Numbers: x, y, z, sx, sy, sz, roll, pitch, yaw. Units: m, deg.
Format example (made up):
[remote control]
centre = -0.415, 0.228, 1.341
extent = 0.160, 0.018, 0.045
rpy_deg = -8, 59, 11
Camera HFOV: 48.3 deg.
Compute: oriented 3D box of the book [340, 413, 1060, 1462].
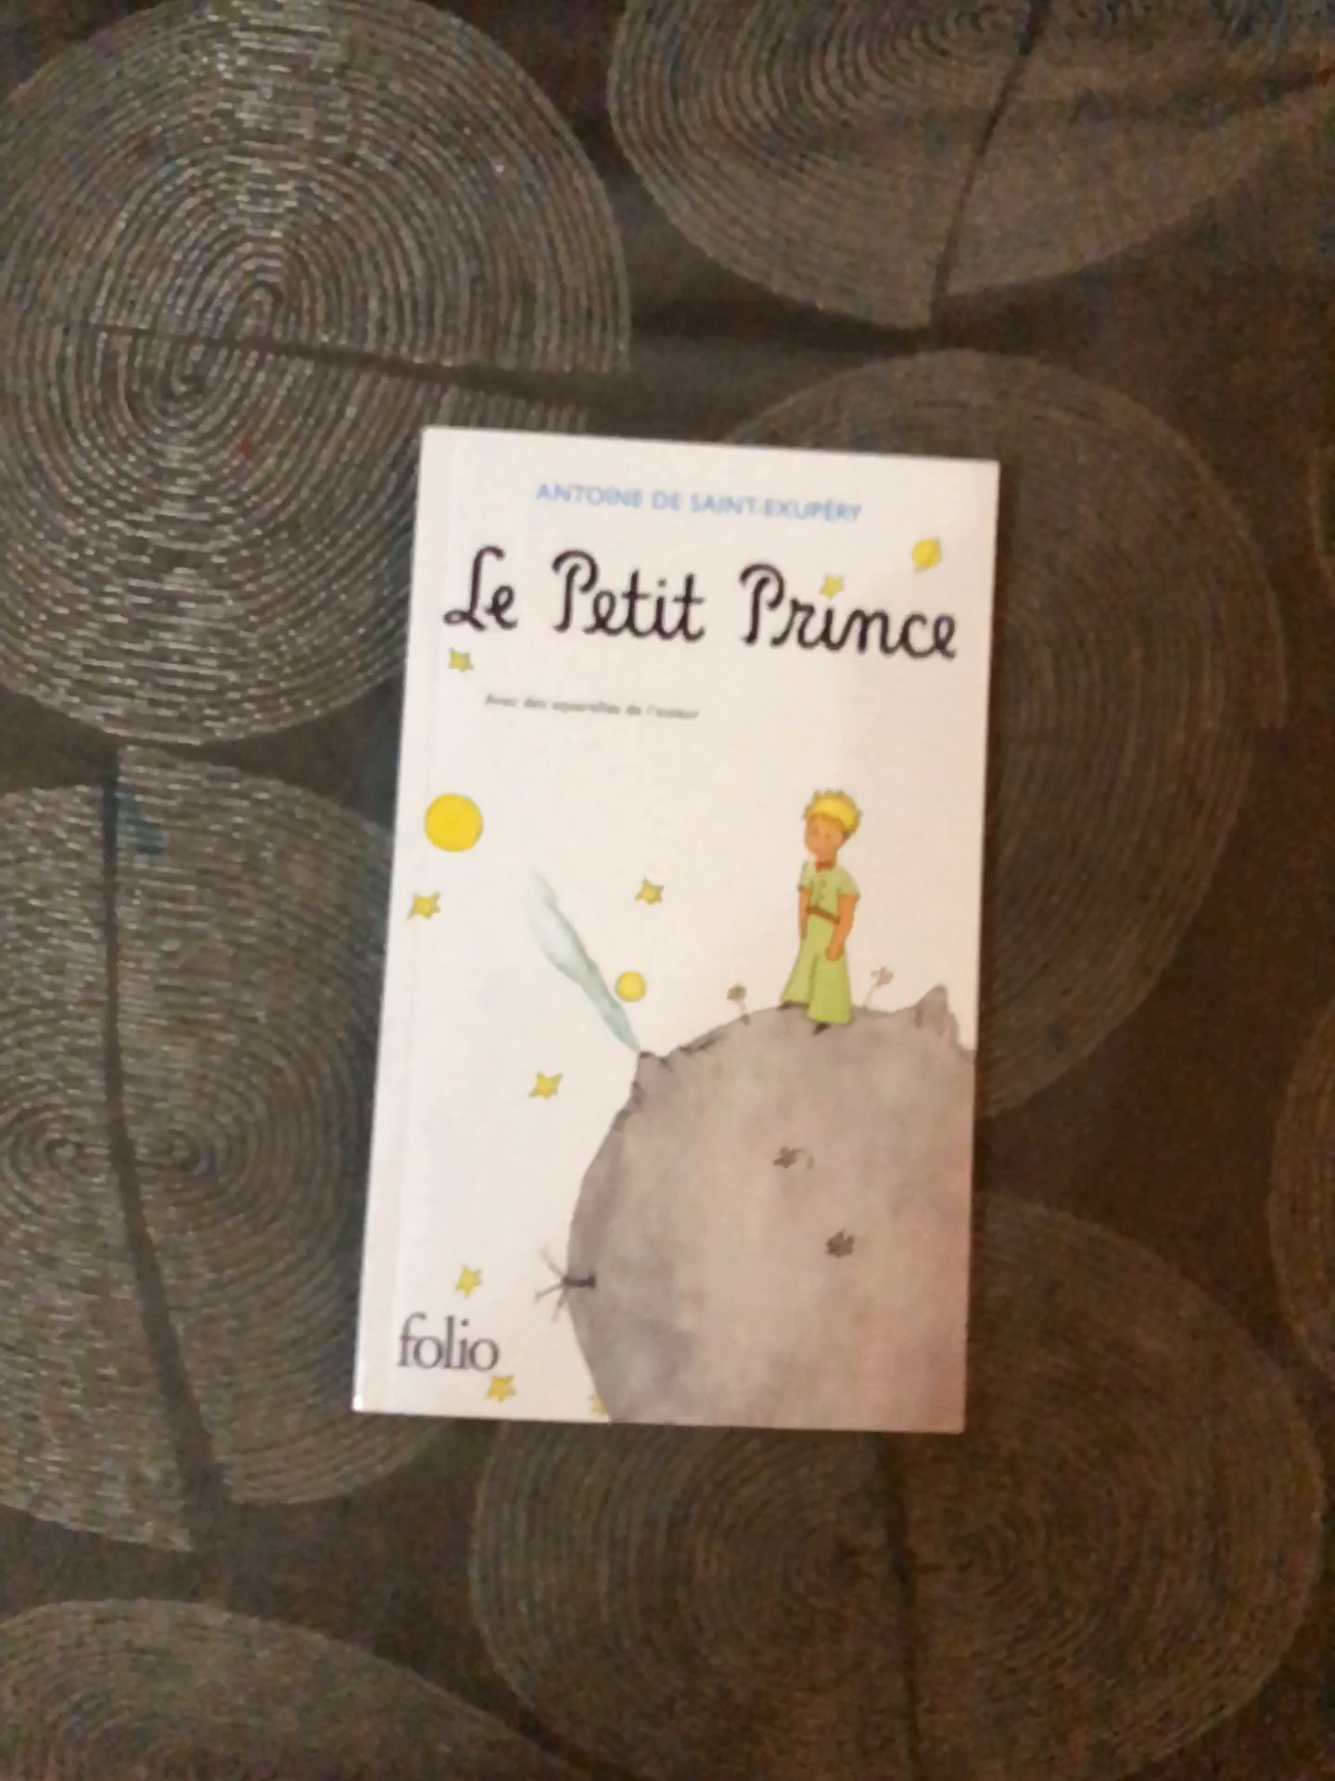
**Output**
[book]
centre = 0.005, 0.009, 0.267
extent = 0.110, 0.030, 0.170
rpy_deg = 4, 90, -5
